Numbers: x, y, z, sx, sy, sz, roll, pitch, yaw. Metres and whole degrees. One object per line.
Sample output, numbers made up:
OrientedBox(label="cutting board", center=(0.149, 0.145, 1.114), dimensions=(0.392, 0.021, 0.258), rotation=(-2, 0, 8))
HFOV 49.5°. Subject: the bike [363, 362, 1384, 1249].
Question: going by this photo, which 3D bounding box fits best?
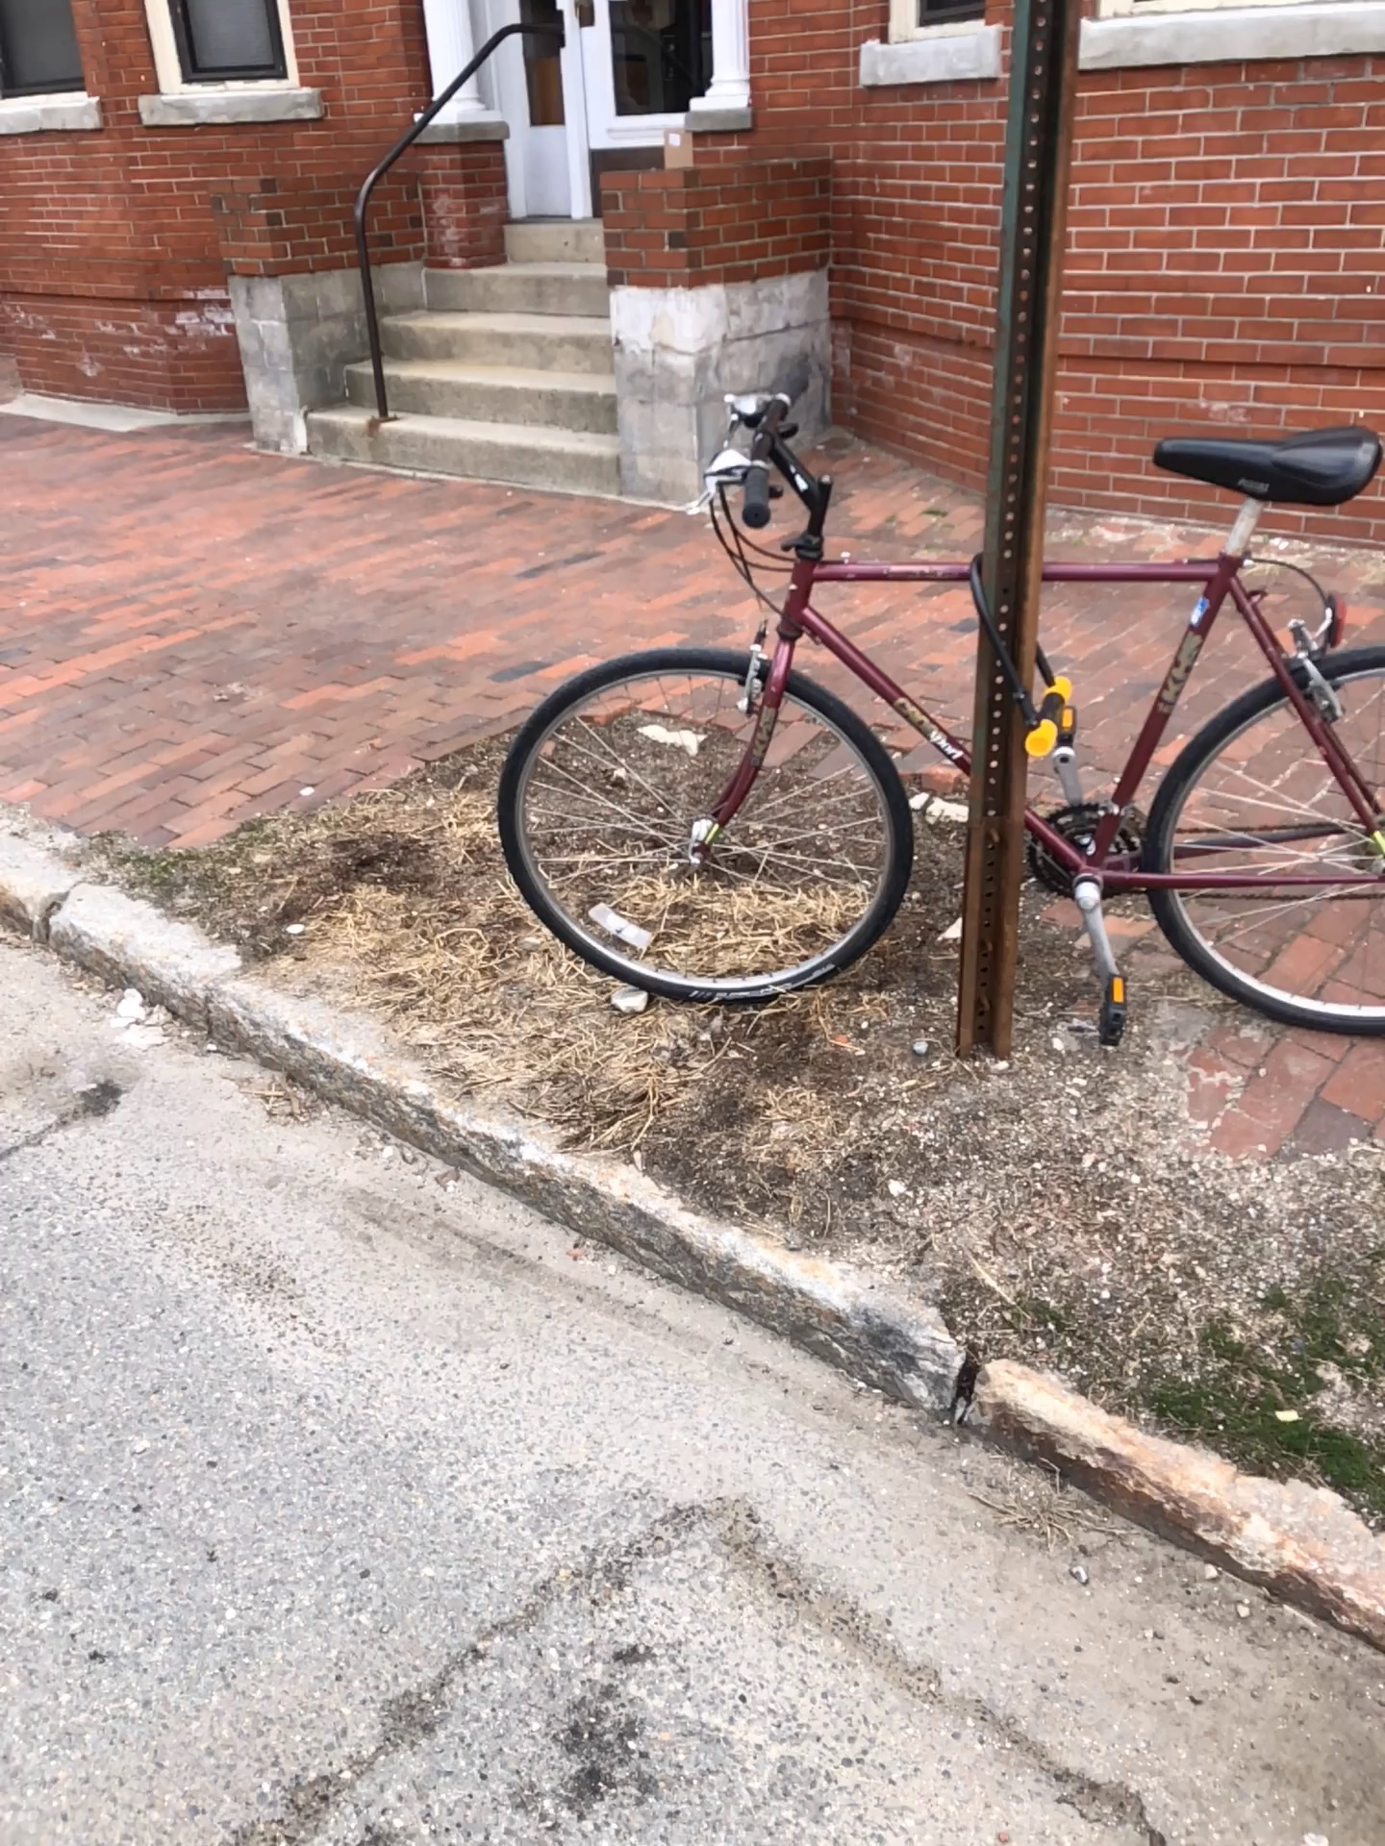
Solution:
OrientedBox(label="bike", center=(0.521, -0.230, 2.218), dimensions=(1.726, 1.011, 0.671), rotation=(4, 28, 13))
